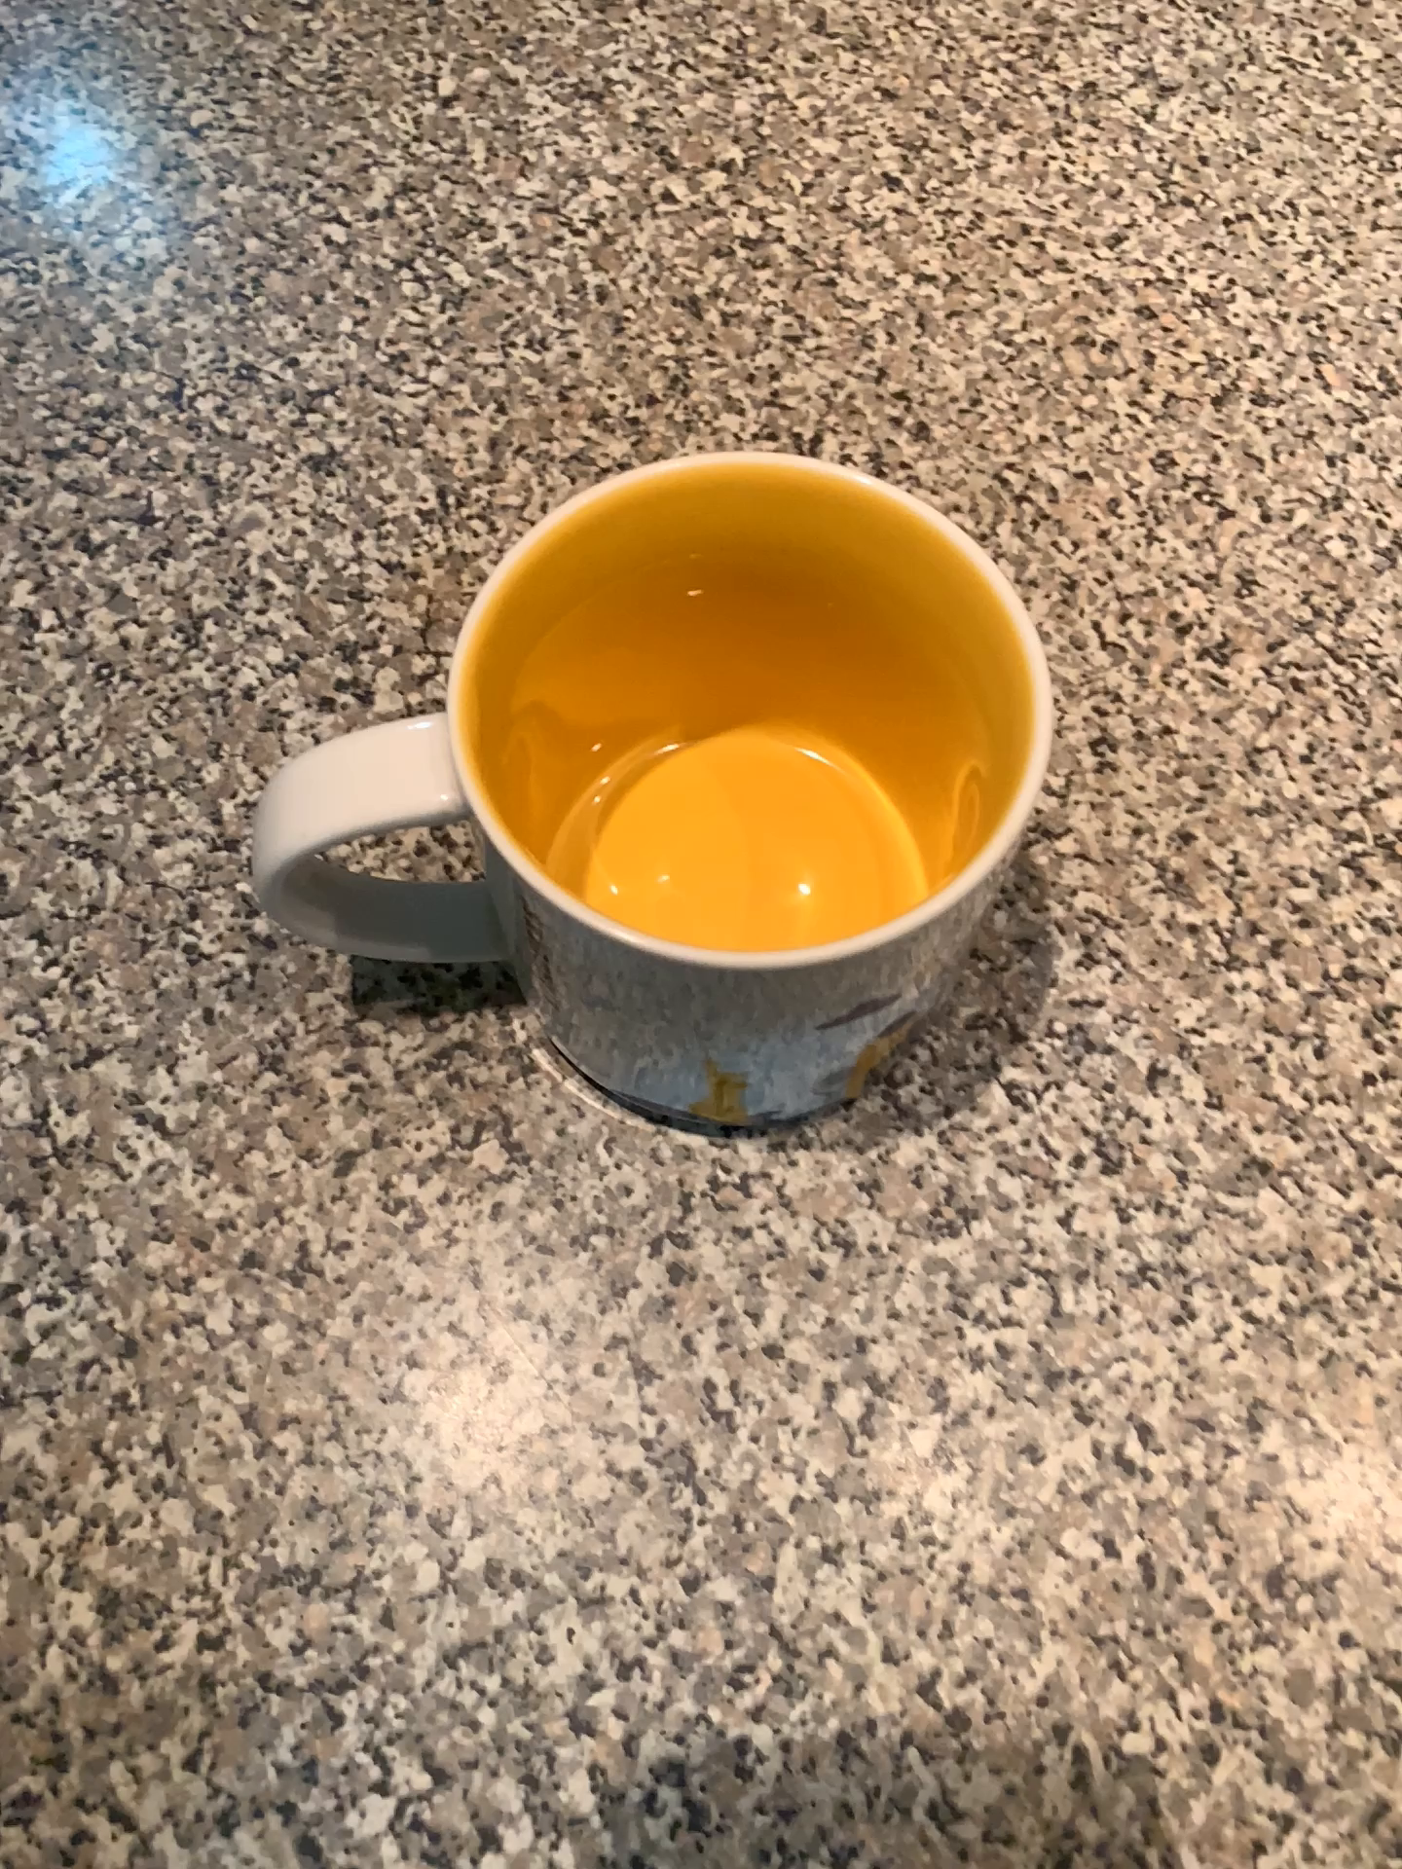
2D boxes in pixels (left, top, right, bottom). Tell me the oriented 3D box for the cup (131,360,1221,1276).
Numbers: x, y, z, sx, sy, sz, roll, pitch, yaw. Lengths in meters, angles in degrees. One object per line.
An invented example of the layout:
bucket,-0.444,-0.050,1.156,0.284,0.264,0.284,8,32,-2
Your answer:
cup,-0.008,-0.016,0.252,0.139,0.087,0.102,-14,67,-5
